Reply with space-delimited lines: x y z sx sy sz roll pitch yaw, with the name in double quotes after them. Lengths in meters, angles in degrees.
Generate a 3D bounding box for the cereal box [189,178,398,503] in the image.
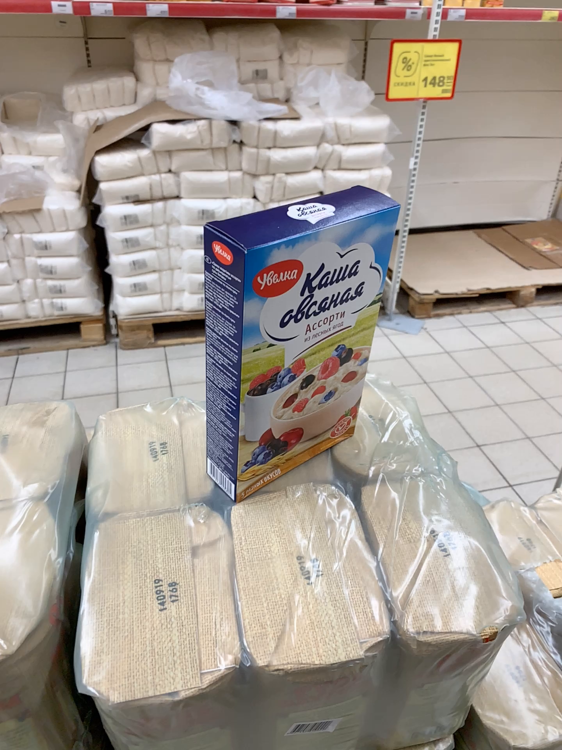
0.006 -0.023 0.413 0.131 0.198 0.050 -25 44 -35 "cereal box"
